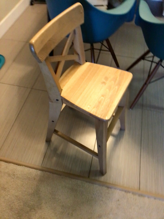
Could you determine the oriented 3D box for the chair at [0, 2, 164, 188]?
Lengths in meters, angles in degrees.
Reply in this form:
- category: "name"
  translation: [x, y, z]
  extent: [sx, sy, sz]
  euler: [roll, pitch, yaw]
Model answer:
- category: "chair"
  translation: [0.051, -0.031, 0.887]
  extent: [0.490, 0.686, 0.443]
  euler: [22, 55, 16]
